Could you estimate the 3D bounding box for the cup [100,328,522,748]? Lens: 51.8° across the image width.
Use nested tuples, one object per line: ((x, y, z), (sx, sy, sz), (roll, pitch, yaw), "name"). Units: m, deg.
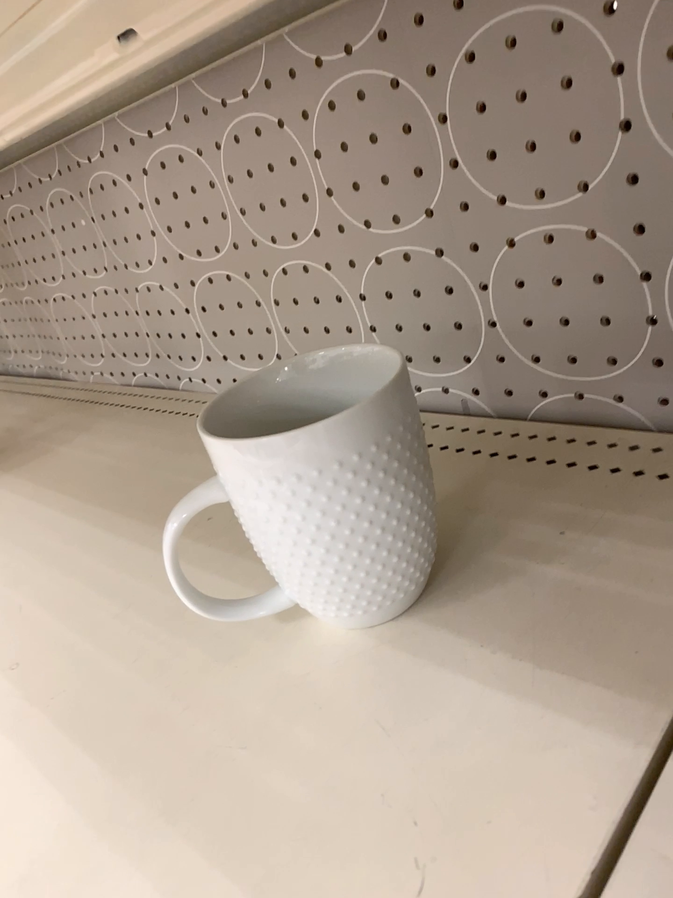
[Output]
((-0.012, 0.029, 0.309), (0.137, 0.105, 0.094), (-27, 26, -13), "cup")
